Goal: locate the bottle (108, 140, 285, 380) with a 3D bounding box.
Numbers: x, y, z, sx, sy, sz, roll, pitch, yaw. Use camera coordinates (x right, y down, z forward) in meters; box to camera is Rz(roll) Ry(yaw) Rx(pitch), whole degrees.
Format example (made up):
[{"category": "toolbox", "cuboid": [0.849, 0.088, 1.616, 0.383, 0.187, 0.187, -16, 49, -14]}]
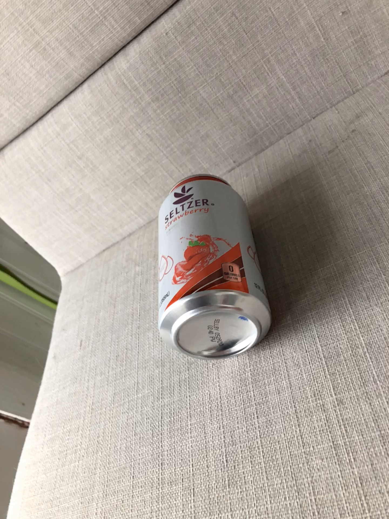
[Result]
[{"category": "bottle", "cuboid": [-0.002, -0.001, 0.280, 0.070, 0.069, 0.121, -28, 43, 23]}]
